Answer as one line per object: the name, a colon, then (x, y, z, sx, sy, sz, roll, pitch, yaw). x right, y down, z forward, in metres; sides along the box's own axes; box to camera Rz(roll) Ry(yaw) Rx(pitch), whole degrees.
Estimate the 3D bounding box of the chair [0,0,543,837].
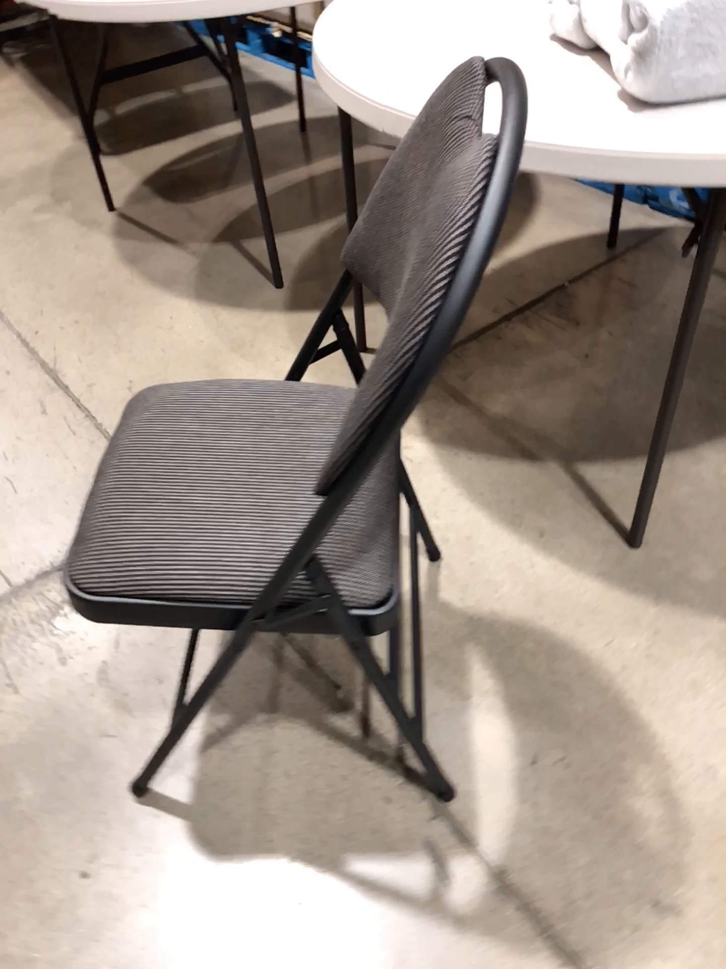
chair: (-0.124, -0.028, 0.954, 0.560, 0.857, 0.512, 1, 45, 7)
